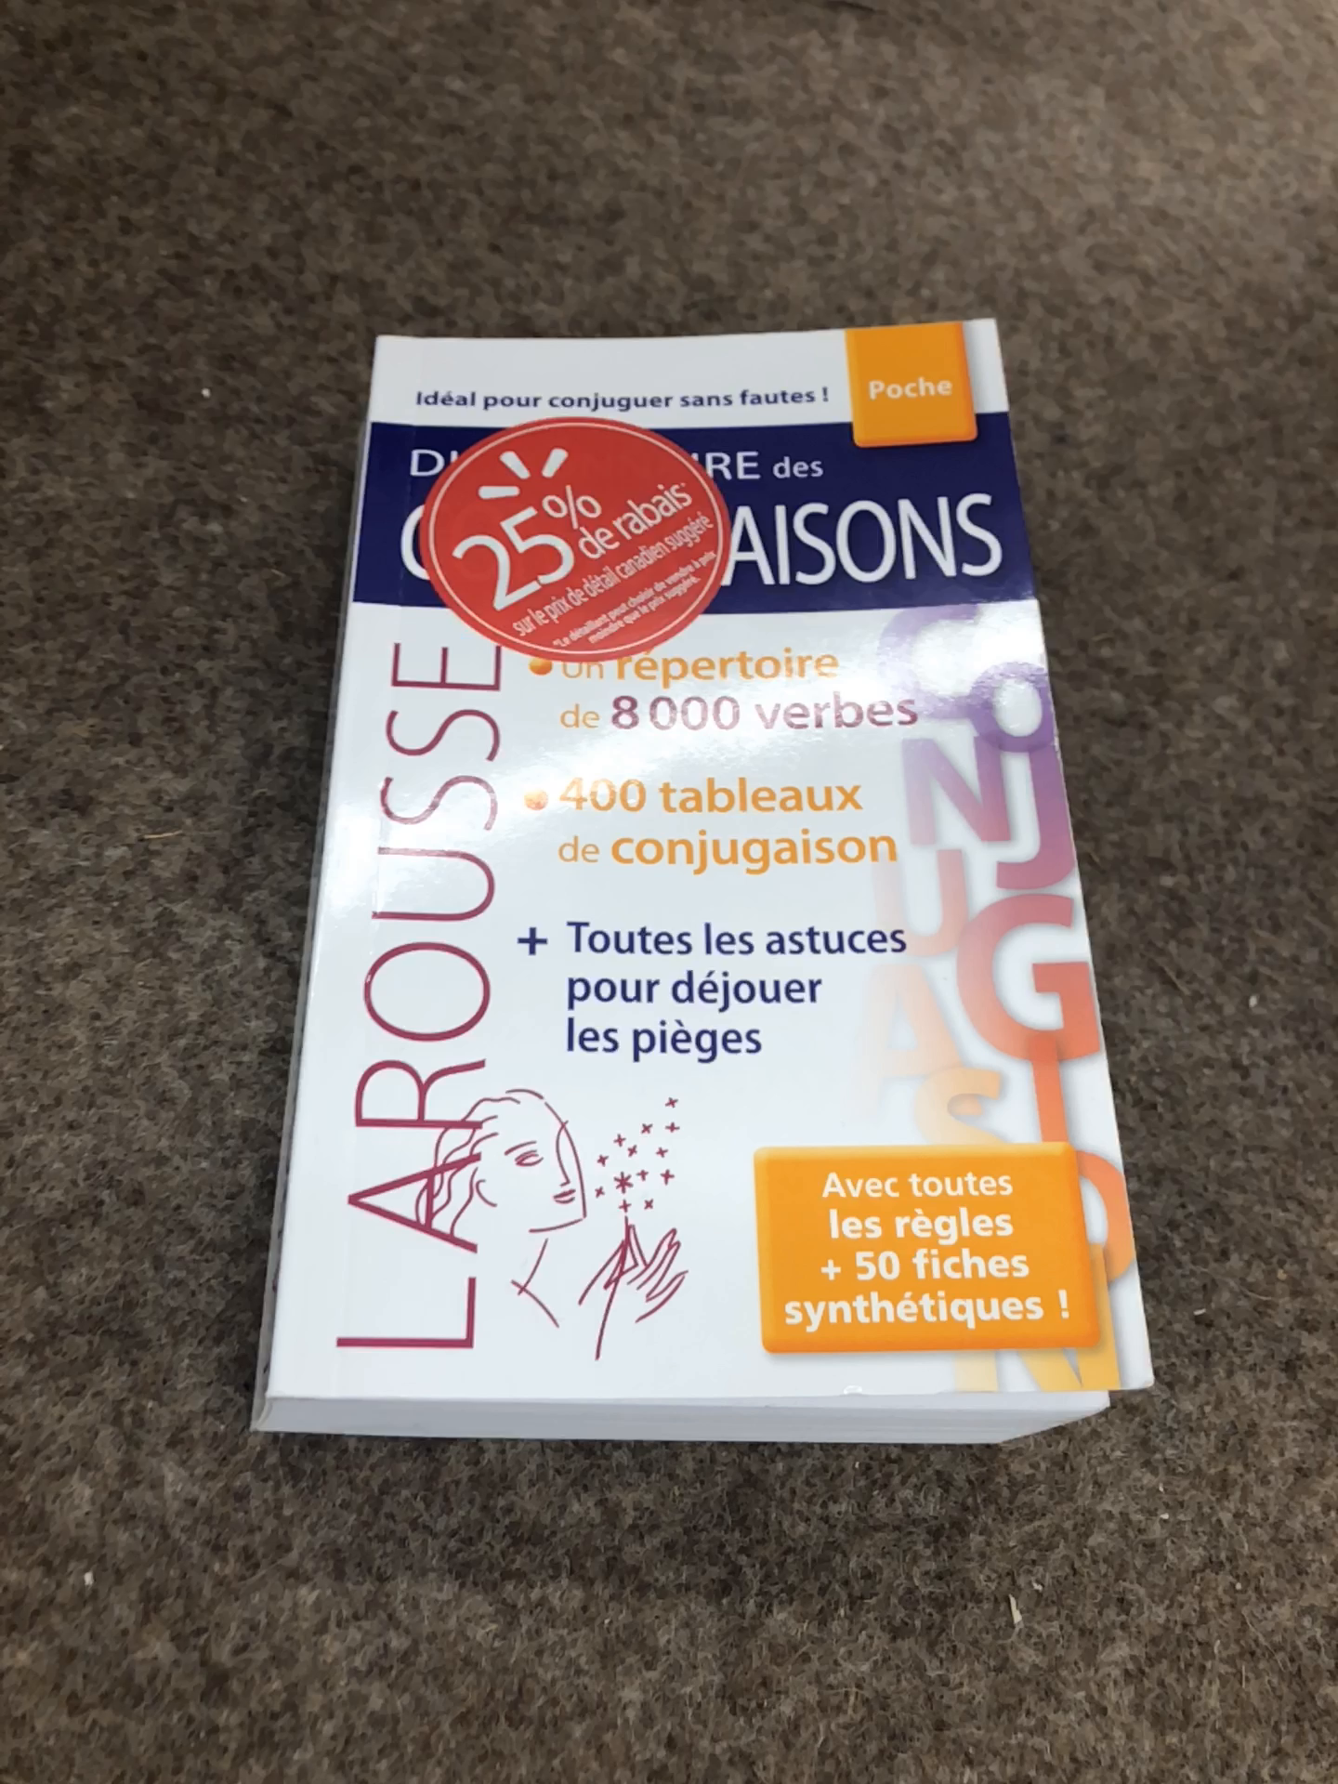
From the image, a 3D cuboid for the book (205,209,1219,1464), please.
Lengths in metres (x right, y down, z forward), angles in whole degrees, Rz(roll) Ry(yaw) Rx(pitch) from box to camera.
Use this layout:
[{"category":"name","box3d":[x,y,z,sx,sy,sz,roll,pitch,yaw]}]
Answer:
[{"category":"book","box3d":[0.002,-0.014,0.251,0.124,0.059,0.200,4,62,-10]}]
